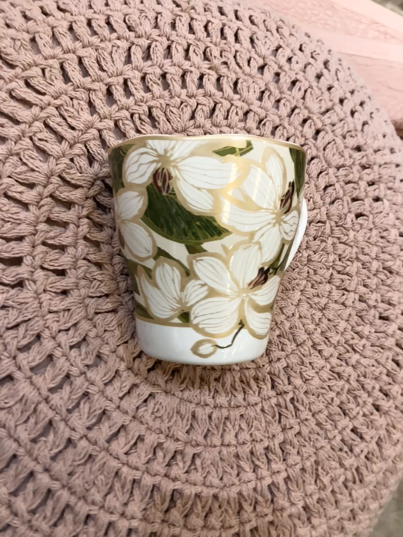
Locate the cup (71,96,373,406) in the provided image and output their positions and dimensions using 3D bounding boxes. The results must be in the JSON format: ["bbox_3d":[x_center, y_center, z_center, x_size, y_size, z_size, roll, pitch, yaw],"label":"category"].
[{"bbox_3d":[0.013,-0.012,0.252,0.141,0.090,0.120,-4,96,-37],"label":"cup"}]
